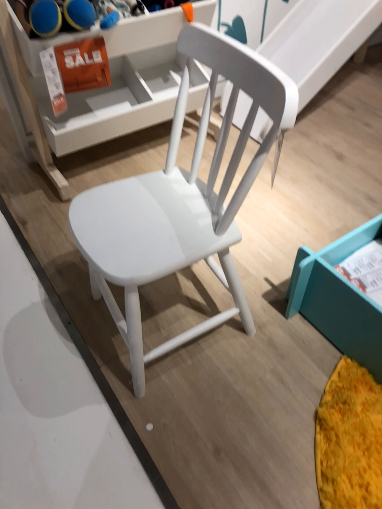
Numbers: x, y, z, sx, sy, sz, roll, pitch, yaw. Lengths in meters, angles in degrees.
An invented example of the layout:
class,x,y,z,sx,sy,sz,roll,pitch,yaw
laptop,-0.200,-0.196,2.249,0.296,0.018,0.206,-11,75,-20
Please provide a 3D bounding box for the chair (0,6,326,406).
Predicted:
class,x,y,z,sx,sy,sz,roll,pitch,yaw
chair,-0.071,-0.085,1.020,0.431,0.755,0.442,-22,50,-19
